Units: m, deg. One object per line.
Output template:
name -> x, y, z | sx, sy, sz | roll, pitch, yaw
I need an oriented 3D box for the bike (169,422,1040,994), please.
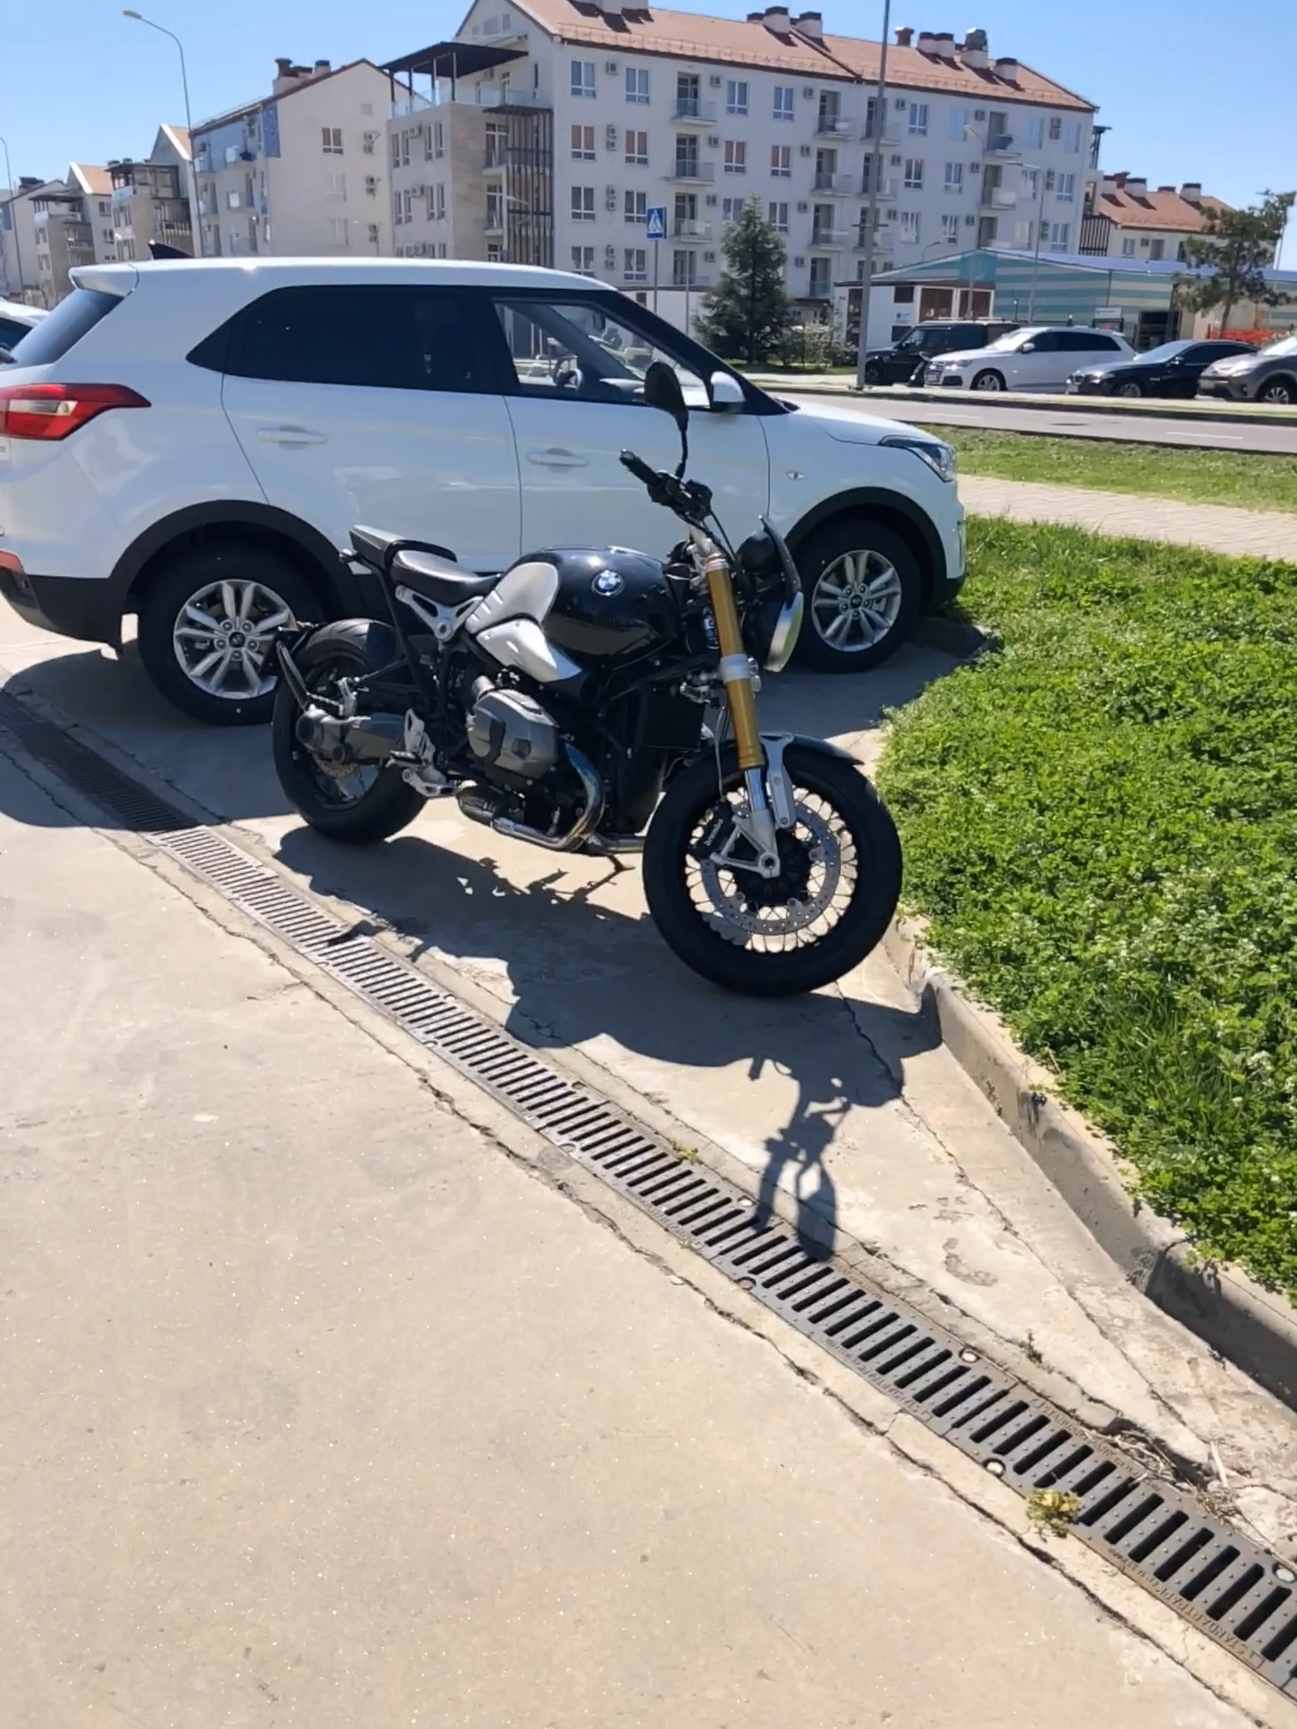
bike -> -0.178, -0.499, 3.387 | 1.835, 1.013, 0.778 | 14, 23, 33
